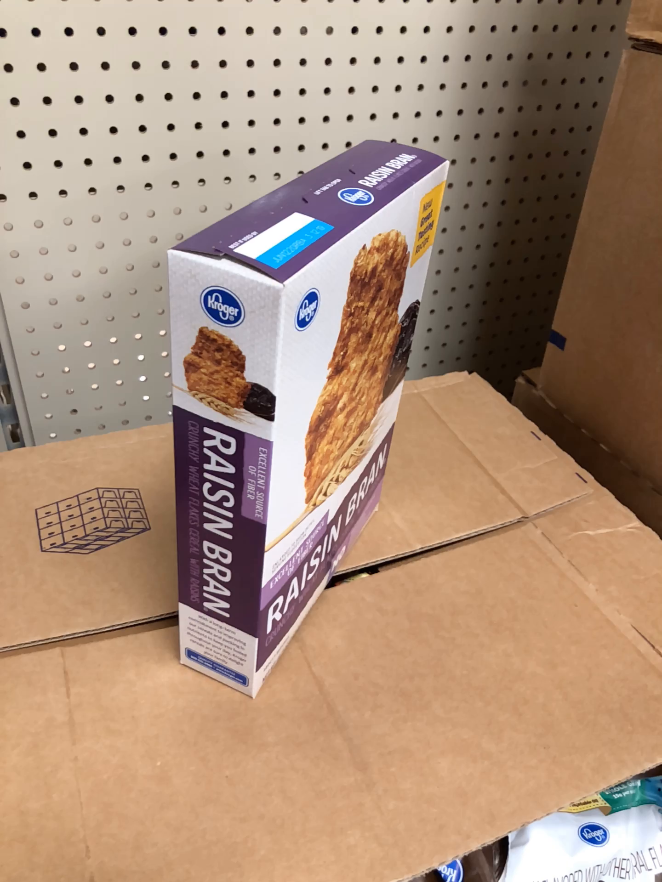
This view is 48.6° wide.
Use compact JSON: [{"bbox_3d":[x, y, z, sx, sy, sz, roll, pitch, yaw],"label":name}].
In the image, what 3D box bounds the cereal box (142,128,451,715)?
[{"bbox_3d":[-0.015,-0.013,0.420,0.060,0.269,0.200,19,38,16],"label":"cereal box"}]
